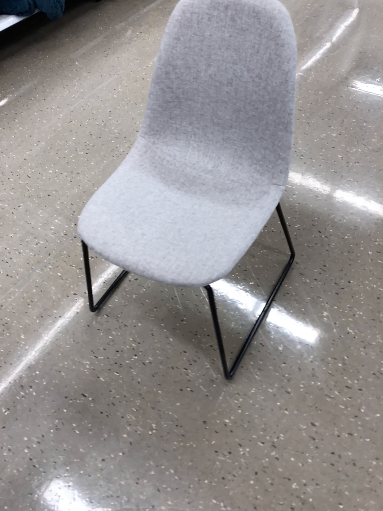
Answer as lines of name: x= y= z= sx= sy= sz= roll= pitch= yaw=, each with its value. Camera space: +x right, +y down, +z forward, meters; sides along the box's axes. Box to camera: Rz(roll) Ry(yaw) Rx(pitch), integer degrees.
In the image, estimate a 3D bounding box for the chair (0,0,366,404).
chair: x=-0.035 y=-0.151 z=1.072 sx=0.591 sy=0.777 sz=0.581 roll=22 pitch=57 yaw=20
